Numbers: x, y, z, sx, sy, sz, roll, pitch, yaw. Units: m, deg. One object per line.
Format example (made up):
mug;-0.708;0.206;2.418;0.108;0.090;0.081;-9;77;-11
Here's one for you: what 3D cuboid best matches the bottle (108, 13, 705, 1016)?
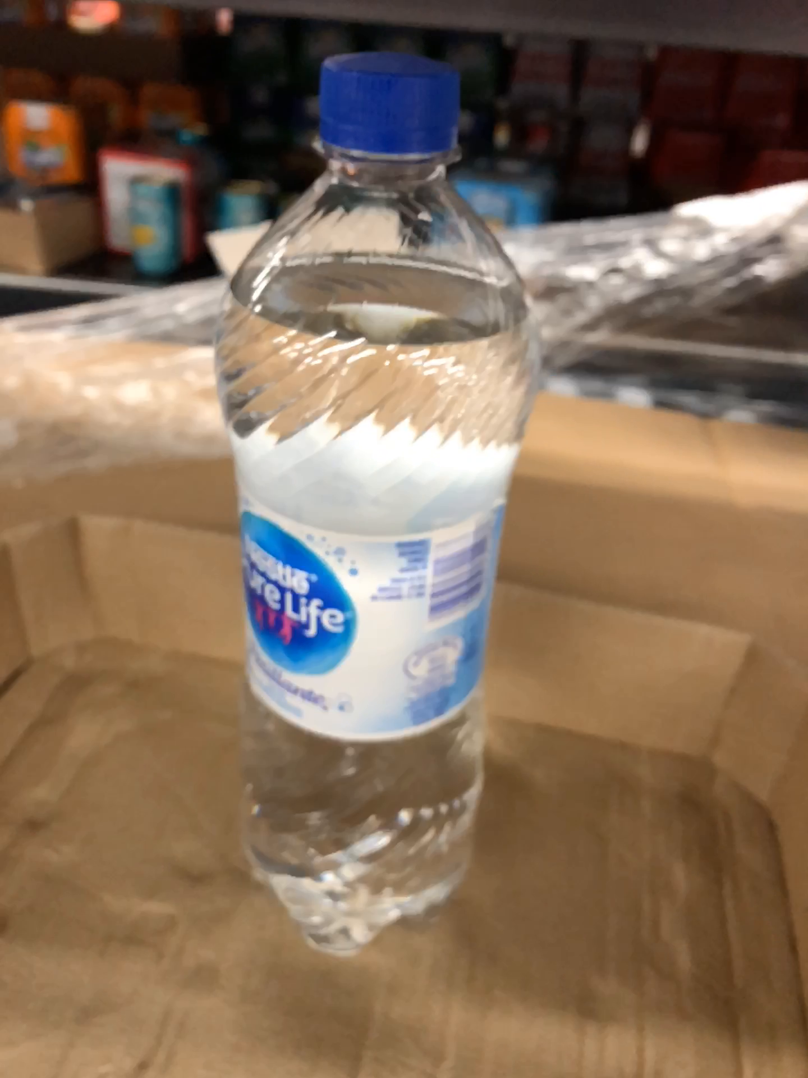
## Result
bottle;-0.009;0.000;0.288;0.100;0.278;0.100;3;31;-2
